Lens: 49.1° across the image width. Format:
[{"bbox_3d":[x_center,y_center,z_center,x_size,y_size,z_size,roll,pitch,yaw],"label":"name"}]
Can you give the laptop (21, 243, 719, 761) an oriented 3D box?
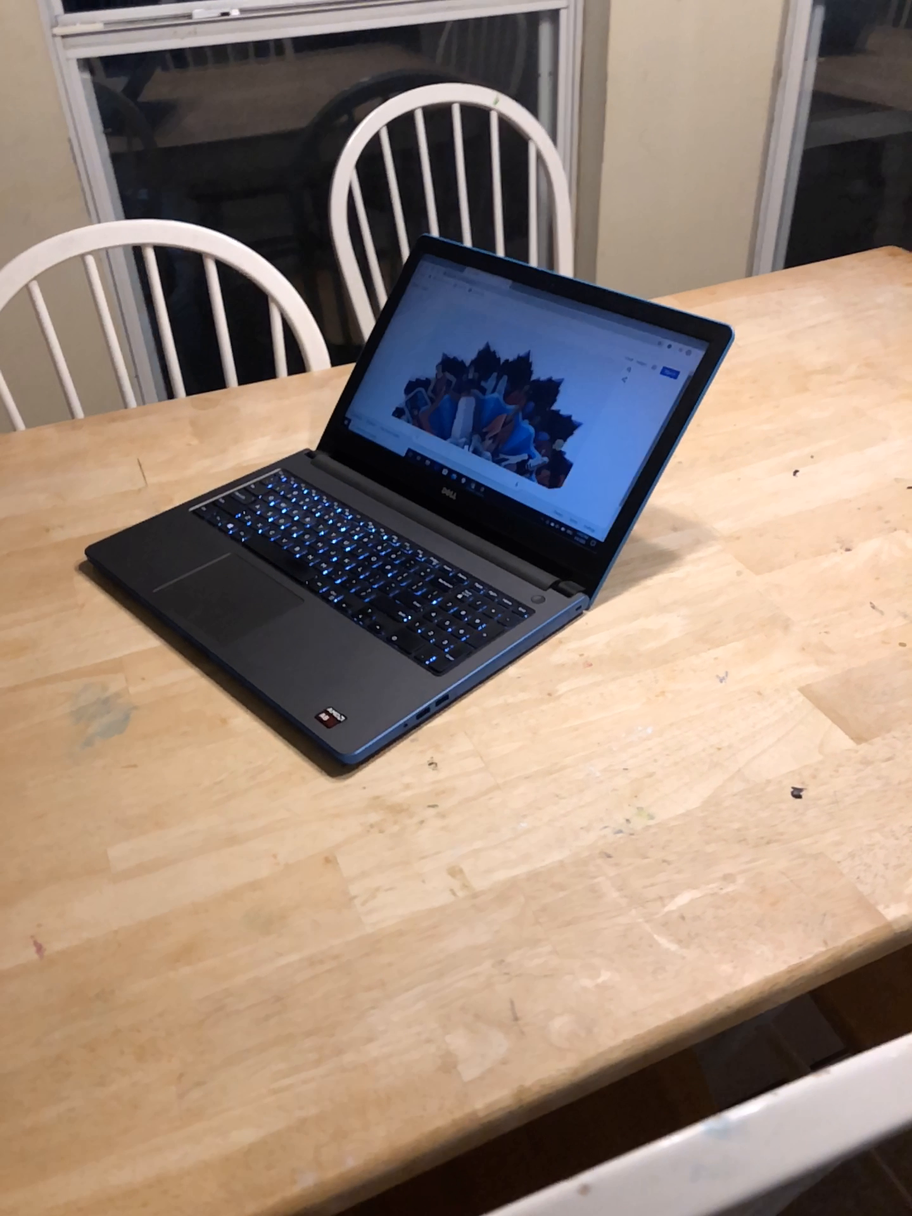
[{"bbox_3d":[-0.063,-0.134,0.844,0.419,0.174,0.368,-31,45,-33],"label":"laptop"}]
